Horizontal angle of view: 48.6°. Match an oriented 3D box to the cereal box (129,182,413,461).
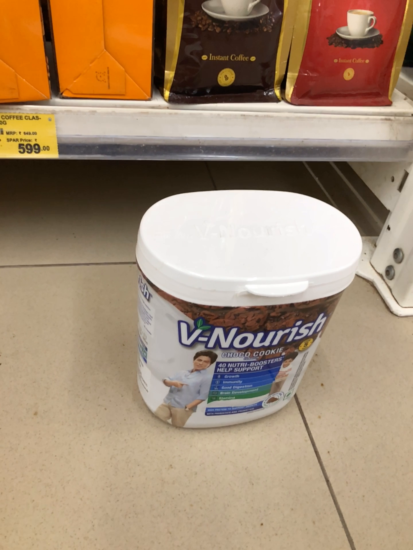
[{"bbox_3d":[0.024,0.029,0.306,0.140,0.149,0.101,-3,42,-14],"label":"cereal box"}]
